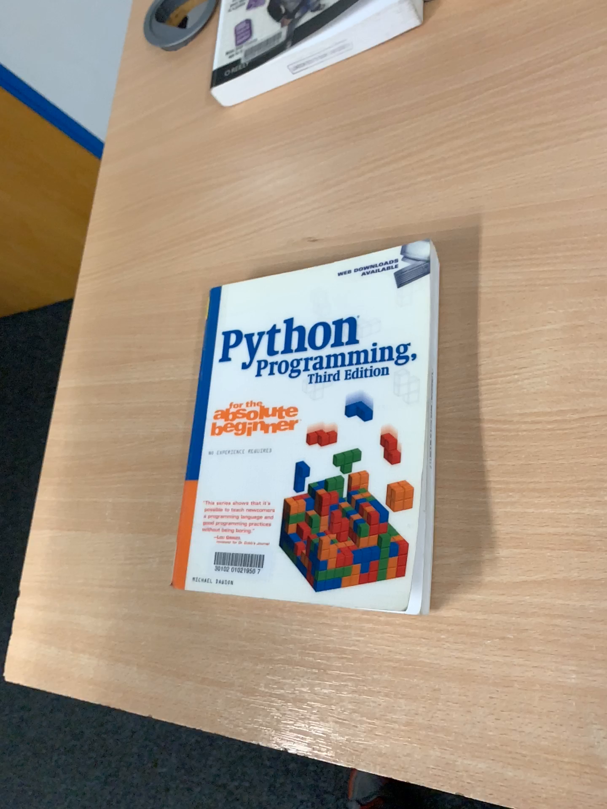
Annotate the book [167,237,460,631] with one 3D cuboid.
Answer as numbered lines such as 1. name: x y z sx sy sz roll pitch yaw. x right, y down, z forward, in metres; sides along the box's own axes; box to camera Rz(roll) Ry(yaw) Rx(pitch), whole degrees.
1. book: 0.006 0.018 0.400 0.175 0.039 0.219 -5 71 32
